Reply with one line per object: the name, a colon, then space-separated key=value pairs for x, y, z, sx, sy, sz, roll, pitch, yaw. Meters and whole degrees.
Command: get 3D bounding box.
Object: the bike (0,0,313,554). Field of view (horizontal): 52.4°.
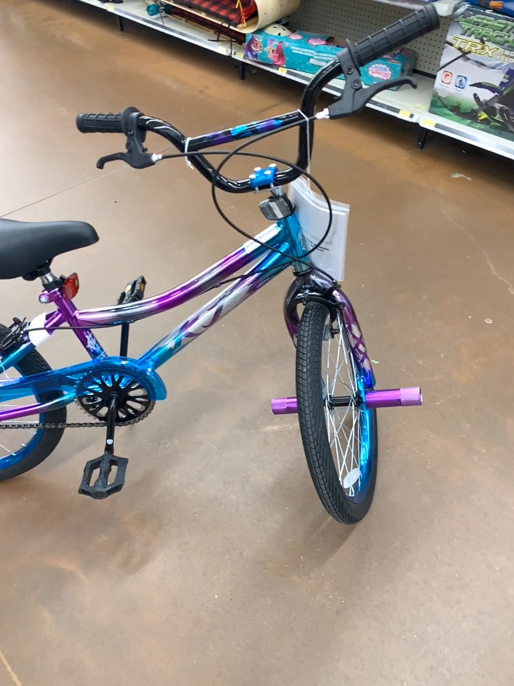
bike: x=-0.423 y=-0.109 z=0.964 sx=0.933 sy=0.931 sz=0.580 roll=0 pitch=45 yaw=-2
